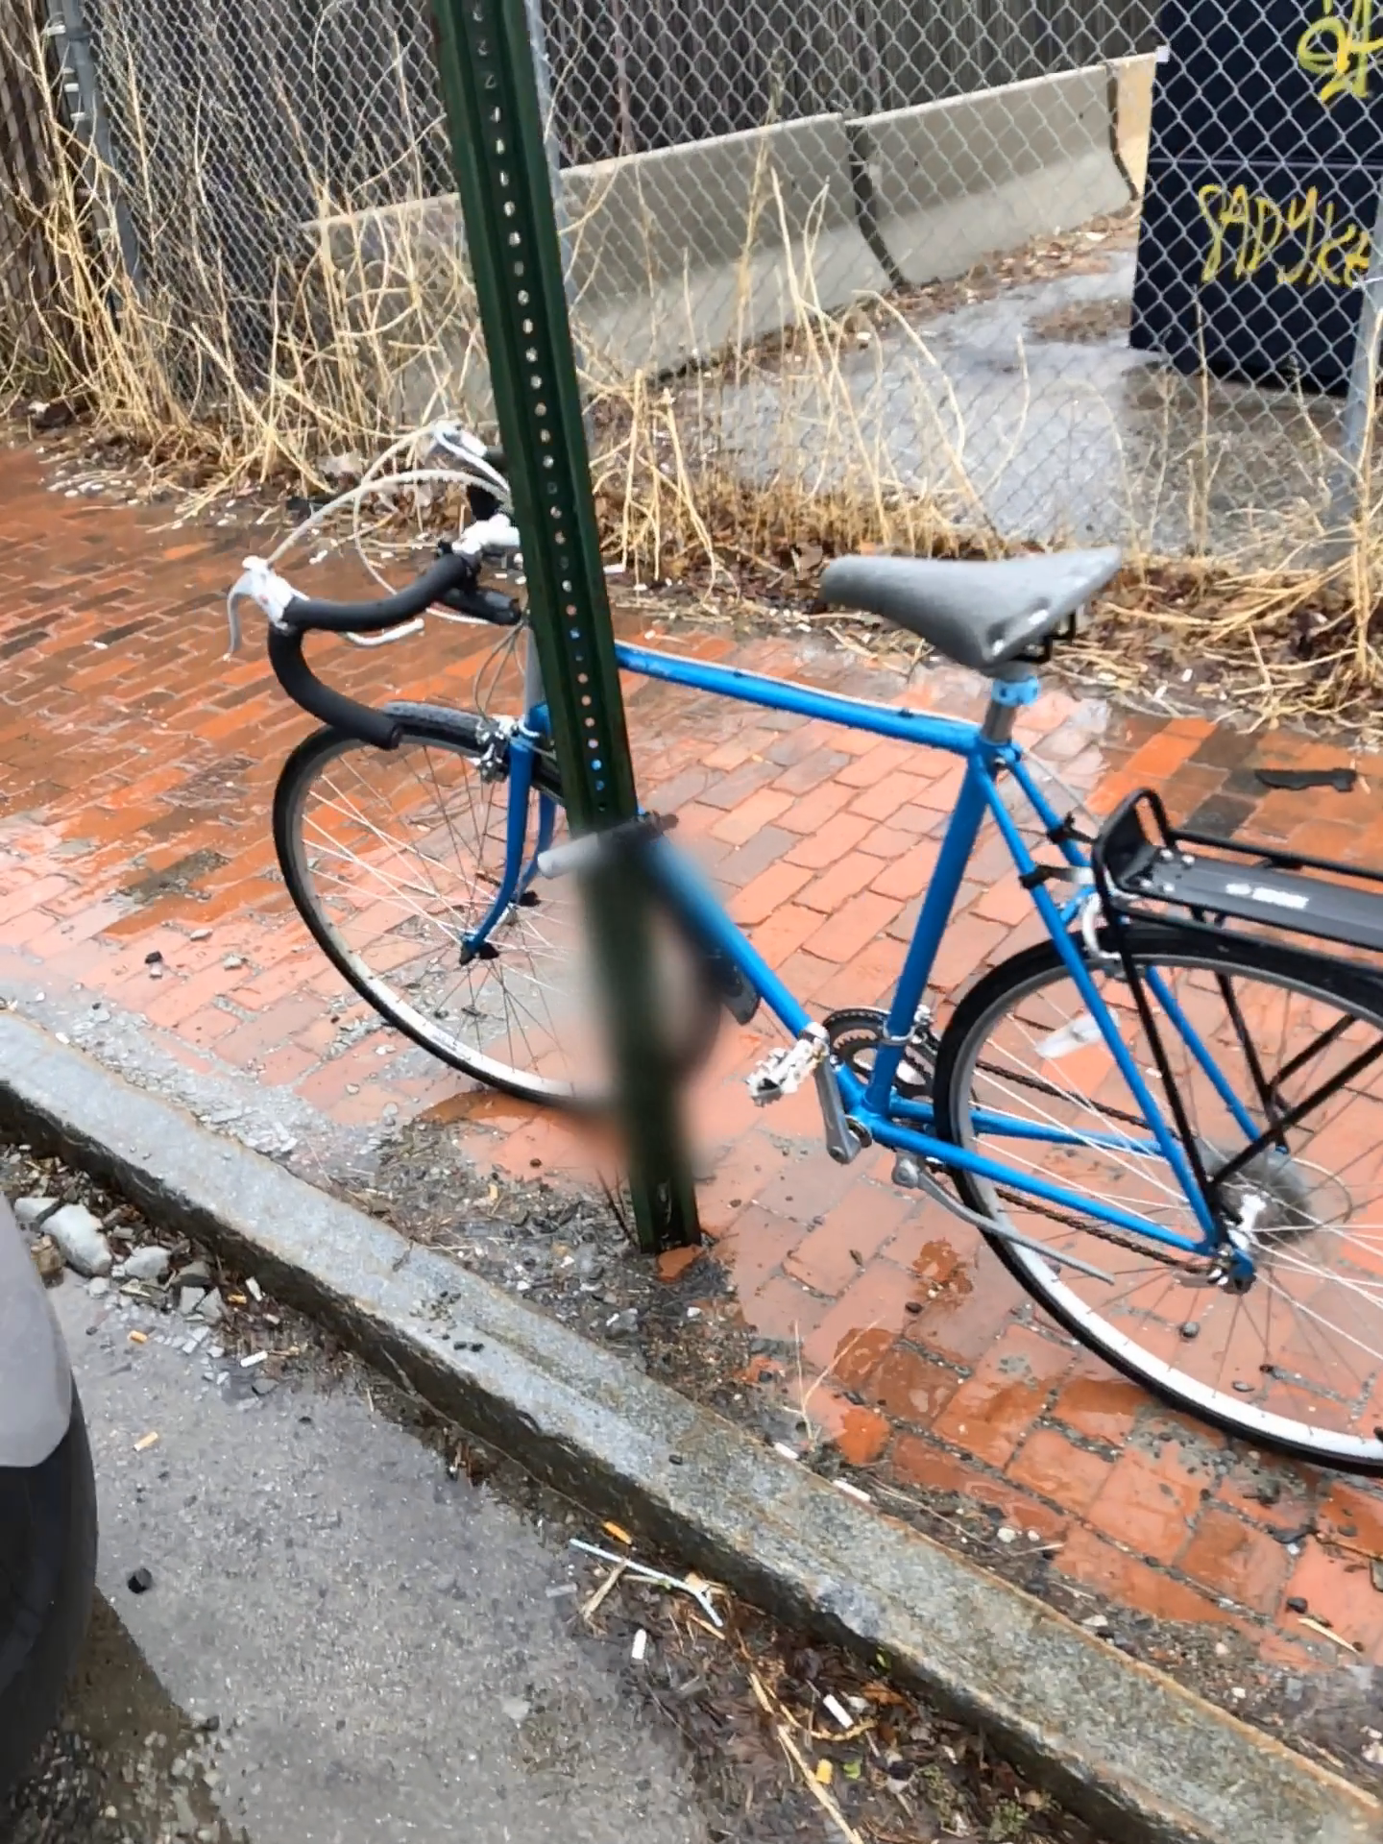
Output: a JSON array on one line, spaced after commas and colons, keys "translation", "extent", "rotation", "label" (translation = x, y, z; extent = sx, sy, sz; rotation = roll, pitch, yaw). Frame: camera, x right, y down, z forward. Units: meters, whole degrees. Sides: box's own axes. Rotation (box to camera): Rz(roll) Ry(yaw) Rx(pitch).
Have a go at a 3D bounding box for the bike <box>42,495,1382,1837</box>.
[{"translation": [0.110, 0.115, 1.817], "extent": [1.867, 0.919, 0.474], "rotation": [17, 38, 31], "label": "bike"}]
